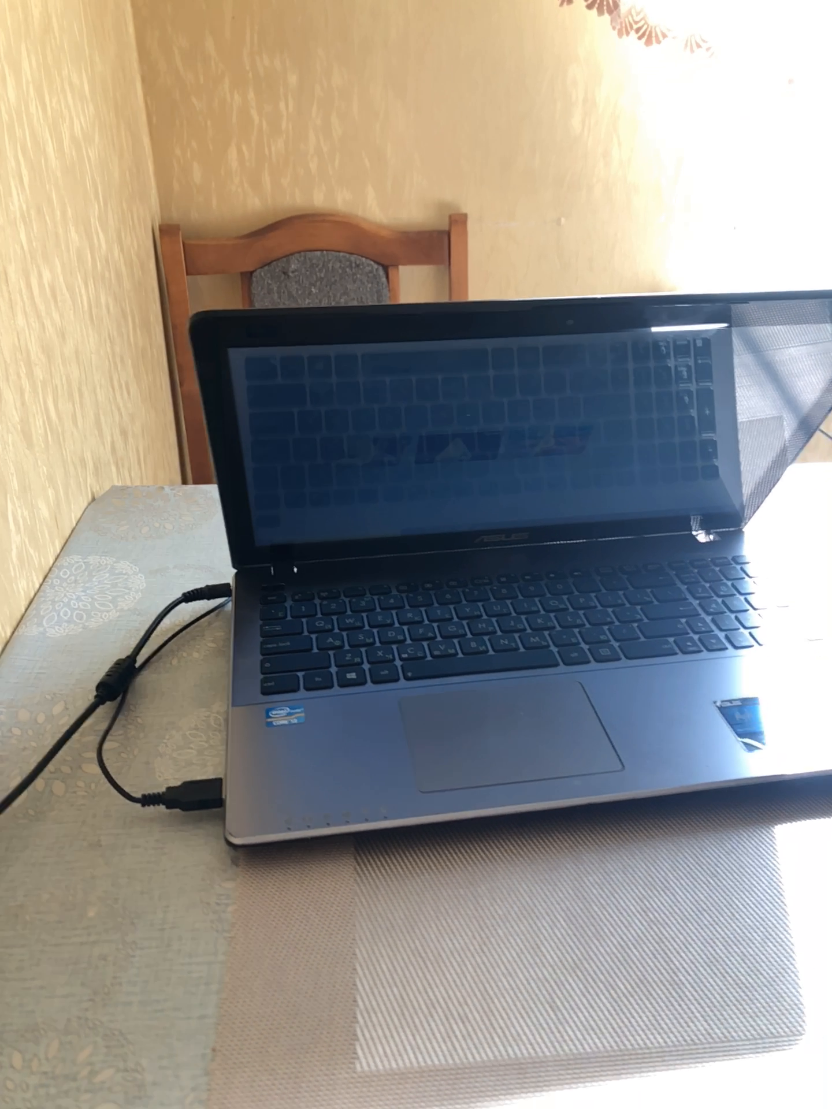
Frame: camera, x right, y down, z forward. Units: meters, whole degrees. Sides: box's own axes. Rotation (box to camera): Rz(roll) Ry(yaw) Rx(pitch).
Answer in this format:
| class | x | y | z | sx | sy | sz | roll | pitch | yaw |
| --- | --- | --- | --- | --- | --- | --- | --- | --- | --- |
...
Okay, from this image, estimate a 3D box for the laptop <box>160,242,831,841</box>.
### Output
| class | x | y | z | sx | sy | sz | roll | pitch | yaw |
| --- | --- | --- | --- | --- | --- | --- | --- | --- | --- |
| laptop | 0.076 | -0.035 | 0.492 | 0.369 | 0.196 | 0.243 | -5 | 29 | -8 |
